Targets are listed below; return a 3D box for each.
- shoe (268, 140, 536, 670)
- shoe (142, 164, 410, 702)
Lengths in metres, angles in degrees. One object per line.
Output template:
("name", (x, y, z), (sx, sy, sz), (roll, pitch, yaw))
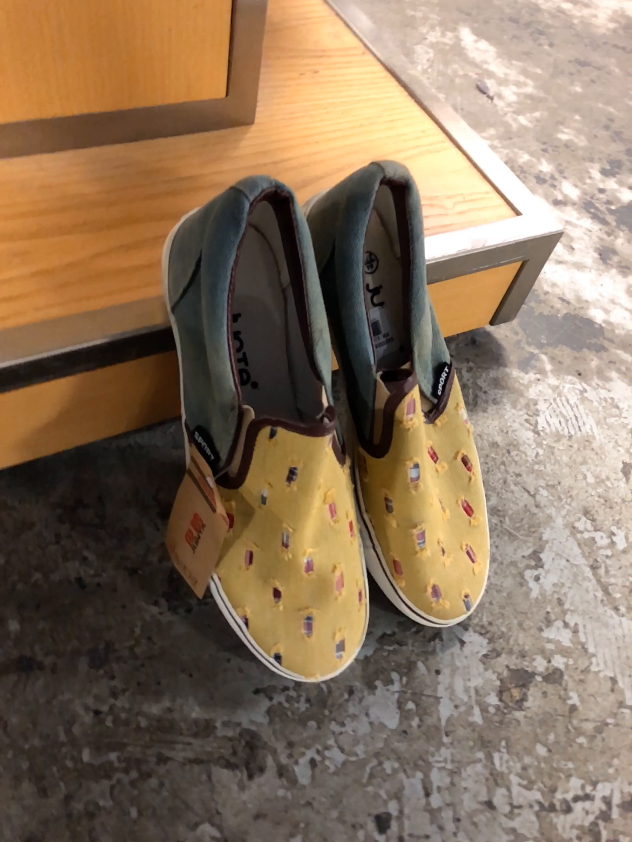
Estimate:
("shoe", (0.053, -0.010, 0.424), (0.090, 0.279, 0.100), (-15, 16, -16))
("shoe", (-0.025, 0.001, 0.399), (0.090, 0.259, 0.120), (-11, 14, -18))
